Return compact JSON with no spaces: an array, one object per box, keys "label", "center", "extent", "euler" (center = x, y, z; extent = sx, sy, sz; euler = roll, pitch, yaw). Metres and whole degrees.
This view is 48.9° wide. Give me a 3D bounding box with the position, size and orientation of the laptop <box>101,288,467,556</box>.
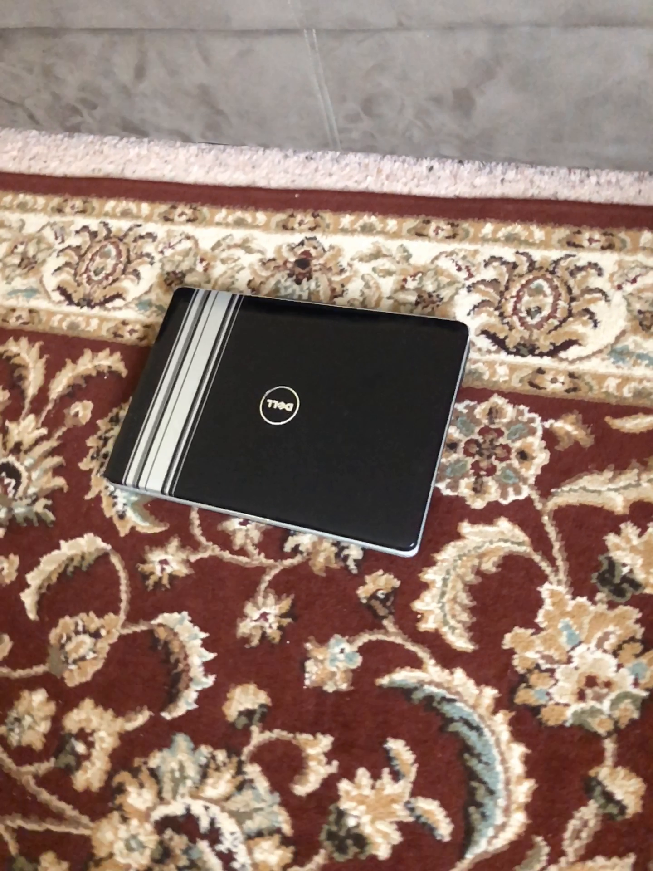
[{"label":"laptop","center":[-0.050,-0.030,0.772],"extent":[0.351,0.015,0.242],"euler":[11,73,19]}]
